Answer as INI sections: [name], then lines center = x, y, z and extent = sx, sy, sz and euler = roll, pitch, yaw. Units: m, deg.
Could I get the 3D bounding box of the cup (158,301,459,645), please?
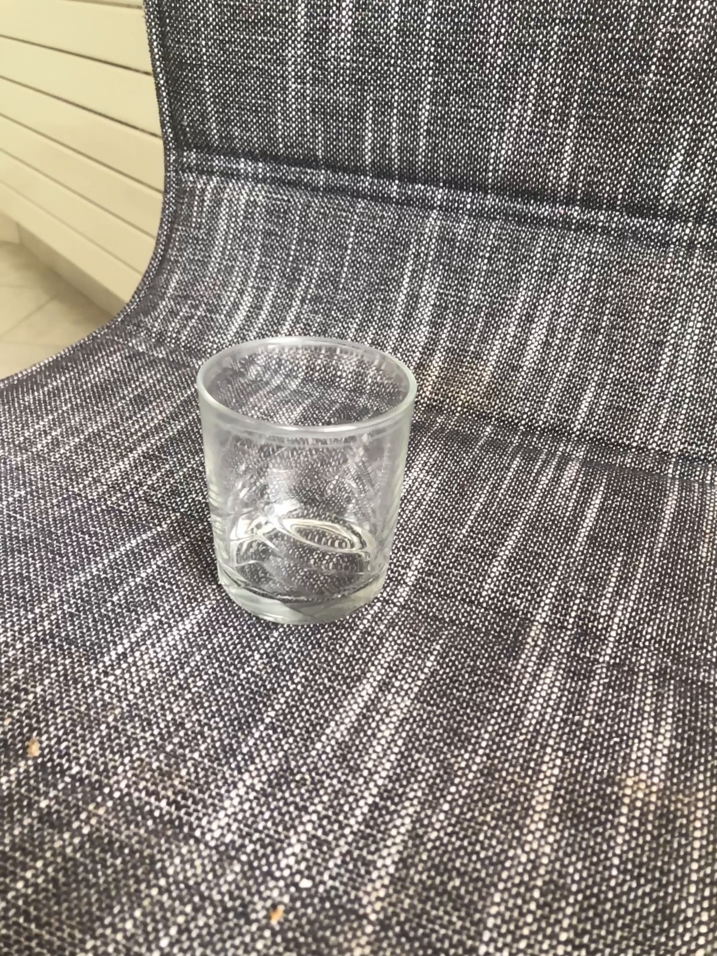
[cup]
center = -0.018, -0.006, 0.275
extent = 0.070, 0.080, 0.070
euler = 1, 32, -1
